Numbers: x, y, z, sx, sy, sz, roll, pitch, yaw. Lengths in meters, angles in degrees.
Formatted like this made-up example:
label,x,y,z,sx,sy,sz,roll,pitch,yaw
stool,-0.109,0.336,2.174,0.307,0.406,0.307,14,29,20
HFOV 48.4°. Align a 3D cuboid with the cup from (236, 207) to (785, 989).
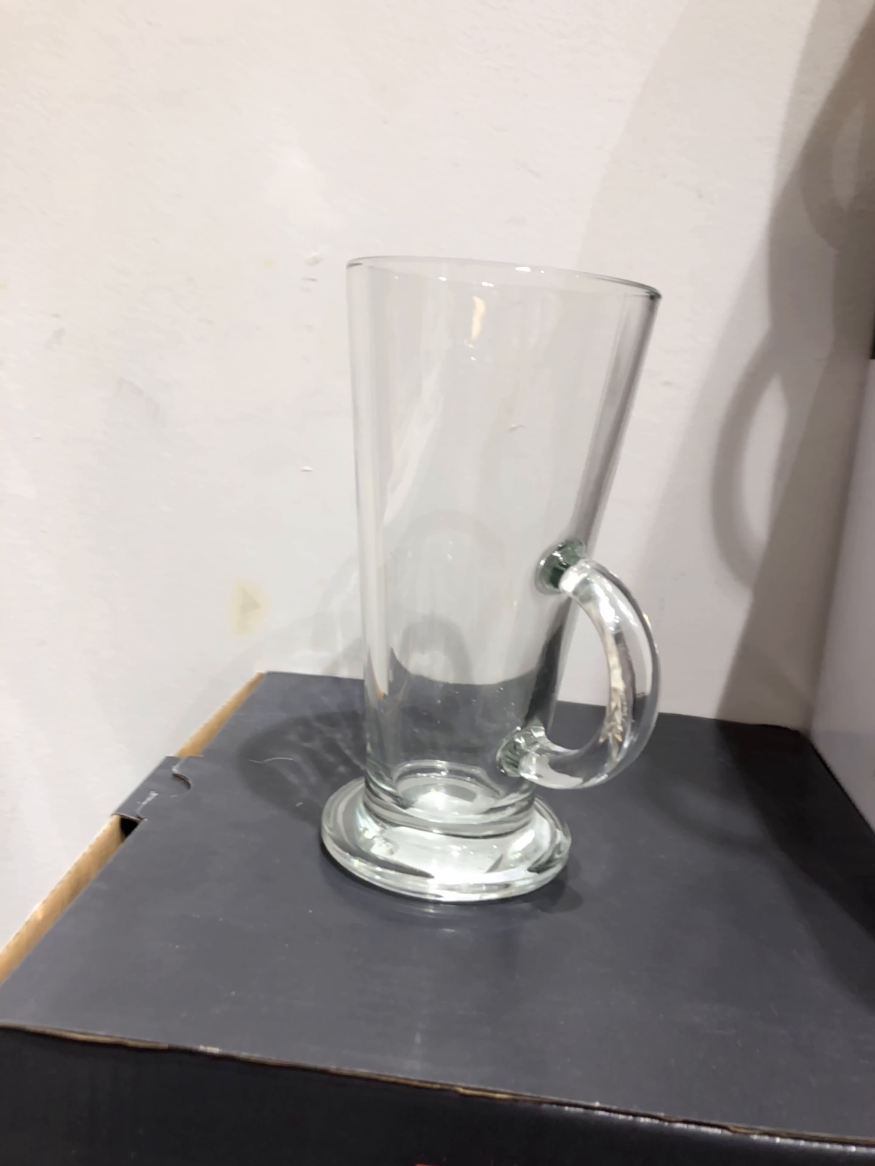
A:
label,x,y,z,sx,sy,sz,roll,pitch,yaw
cup,0.012,-0.005,0.238,0.080,0.149,0.090,-8,18,-41
